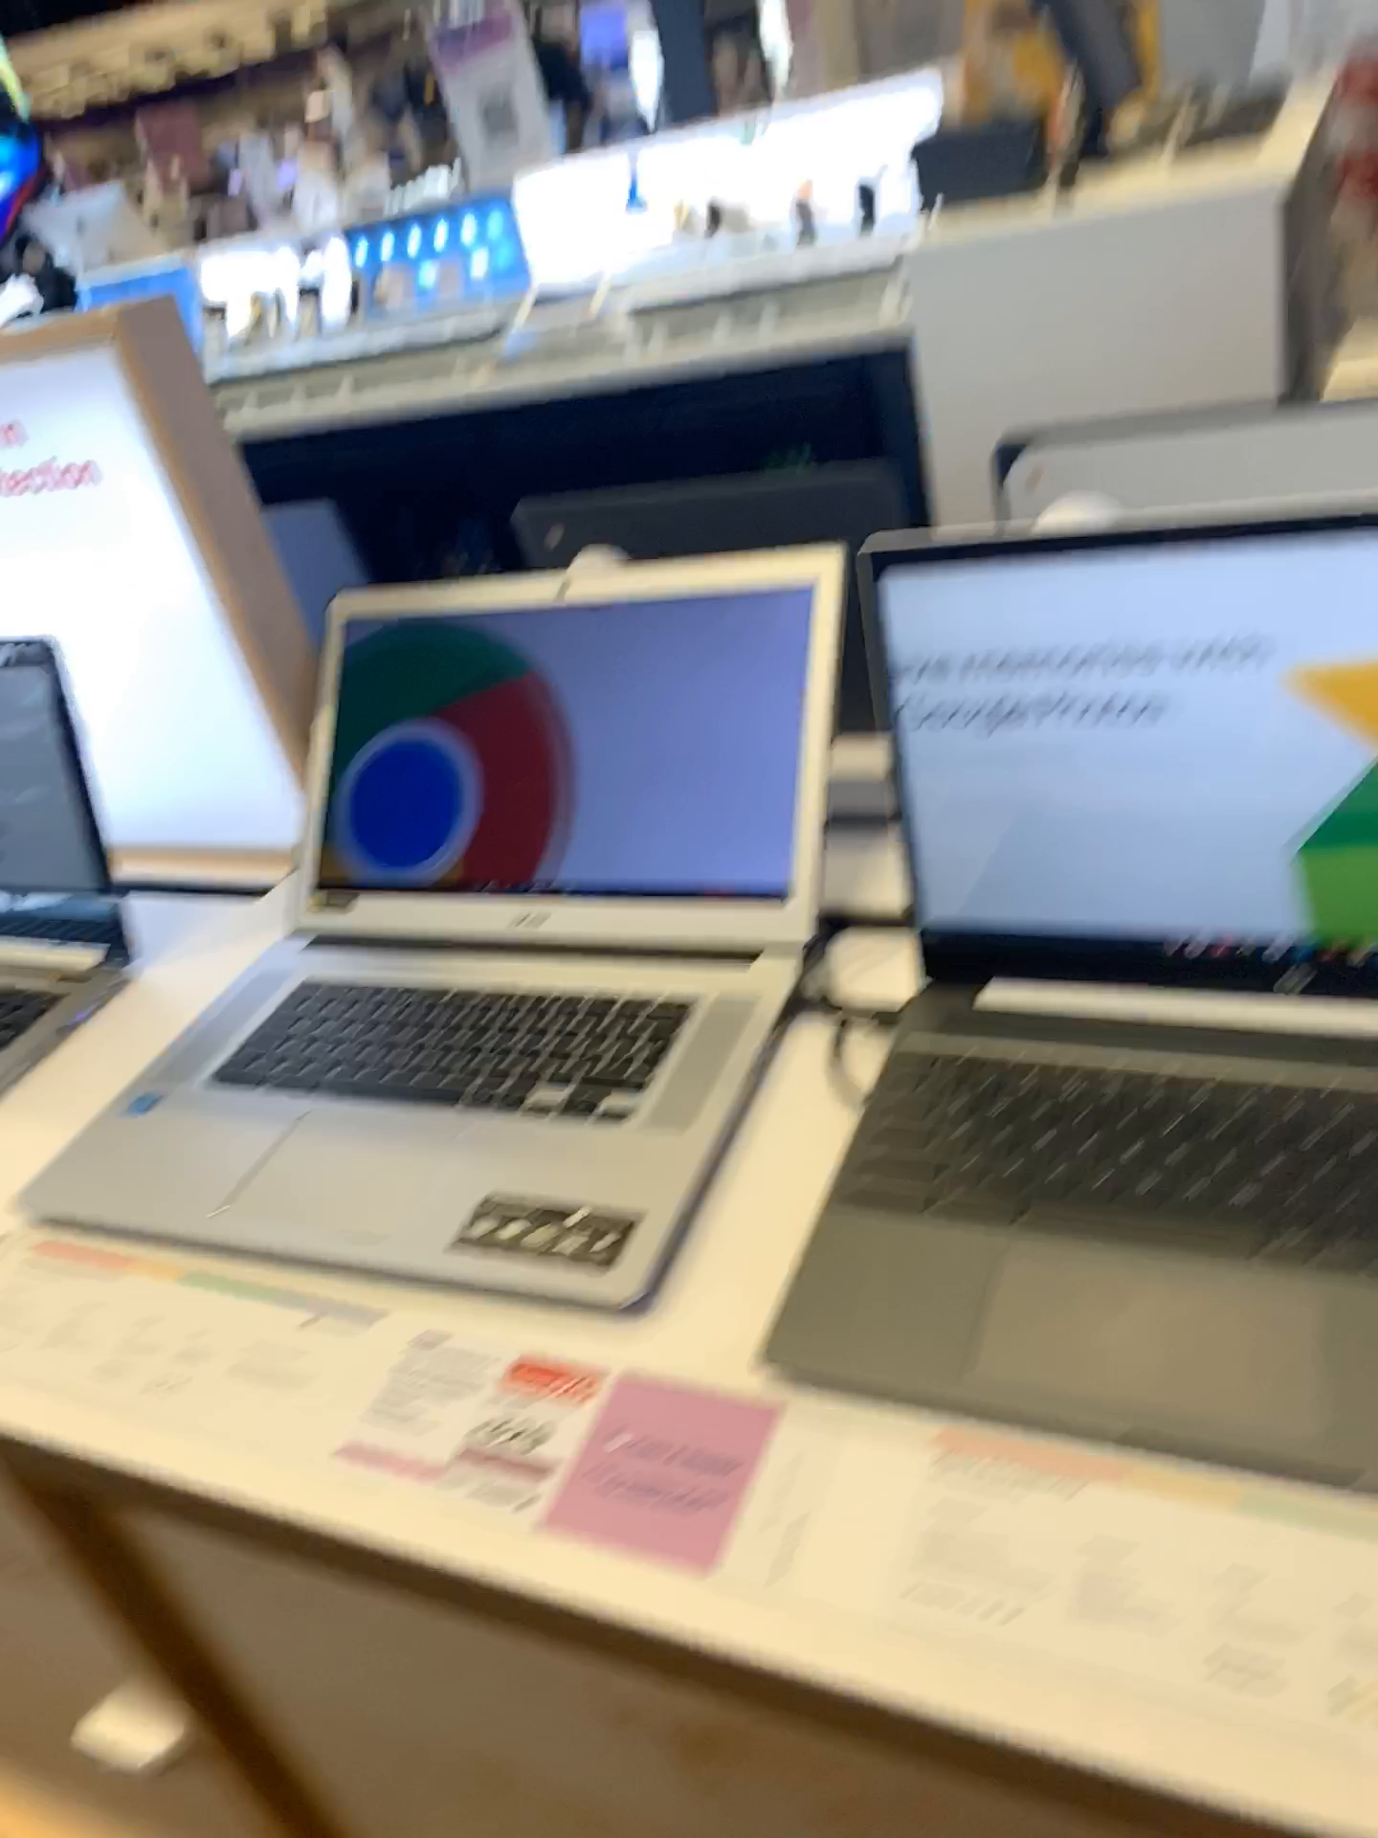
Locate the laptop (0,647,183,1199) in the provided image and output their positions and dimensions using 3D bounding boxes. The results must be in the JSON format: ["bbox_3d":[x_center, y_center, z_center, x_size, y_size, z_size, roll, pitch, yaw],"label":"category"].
[{"bbox_3d":[-0.580,-0.012,0.925,0.308,0.216,0.278,2,35,25],"label":"laptop"}]

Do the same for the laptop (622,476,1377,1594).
[{"bbox_3d":[0.214,0.011,0.527,0.359,0.233,0.268,3,35,25],"label":"laptop"}]

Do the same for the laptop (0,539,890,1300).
[{"bbox_3d":[-0.135,-0.032,0.802,0.377,0.174,0.427,1,35,25],"label":"laptop"}]
